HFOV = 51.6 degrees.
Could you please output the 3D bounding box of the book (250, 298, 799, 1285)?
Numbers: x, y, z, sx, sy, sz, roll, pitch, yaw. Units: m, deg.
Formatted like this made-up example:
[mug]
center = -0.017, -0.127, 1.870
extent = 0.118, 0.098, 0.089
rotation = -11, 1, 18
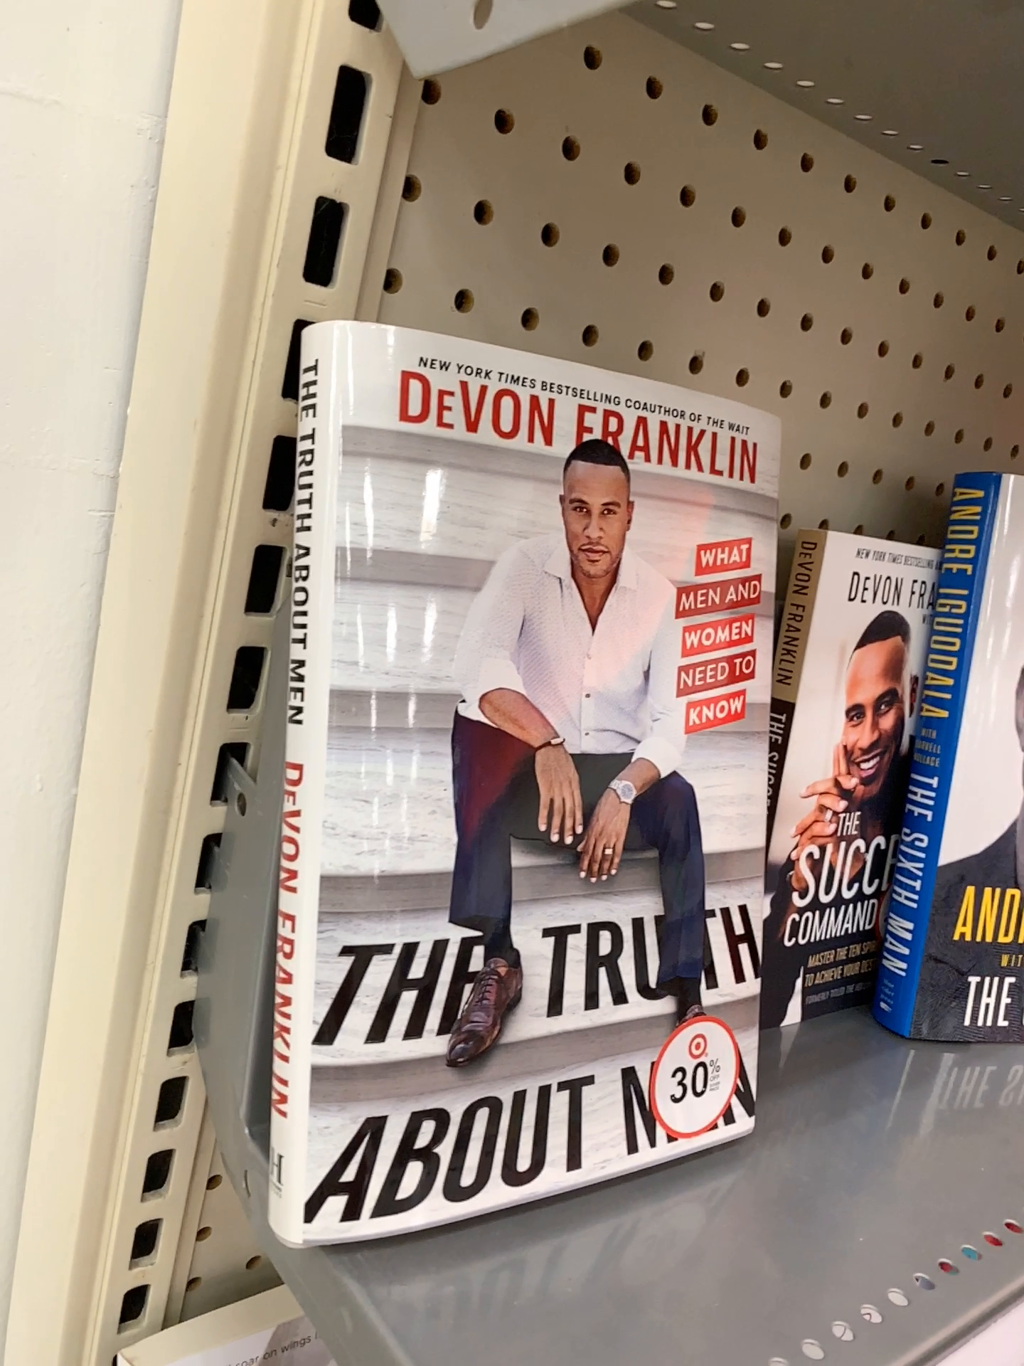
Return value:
[book]
center = 0.011, 0.027, 0.315
extent = 0.160, 0.236, 0.040
rotation = 2, 0, -34
